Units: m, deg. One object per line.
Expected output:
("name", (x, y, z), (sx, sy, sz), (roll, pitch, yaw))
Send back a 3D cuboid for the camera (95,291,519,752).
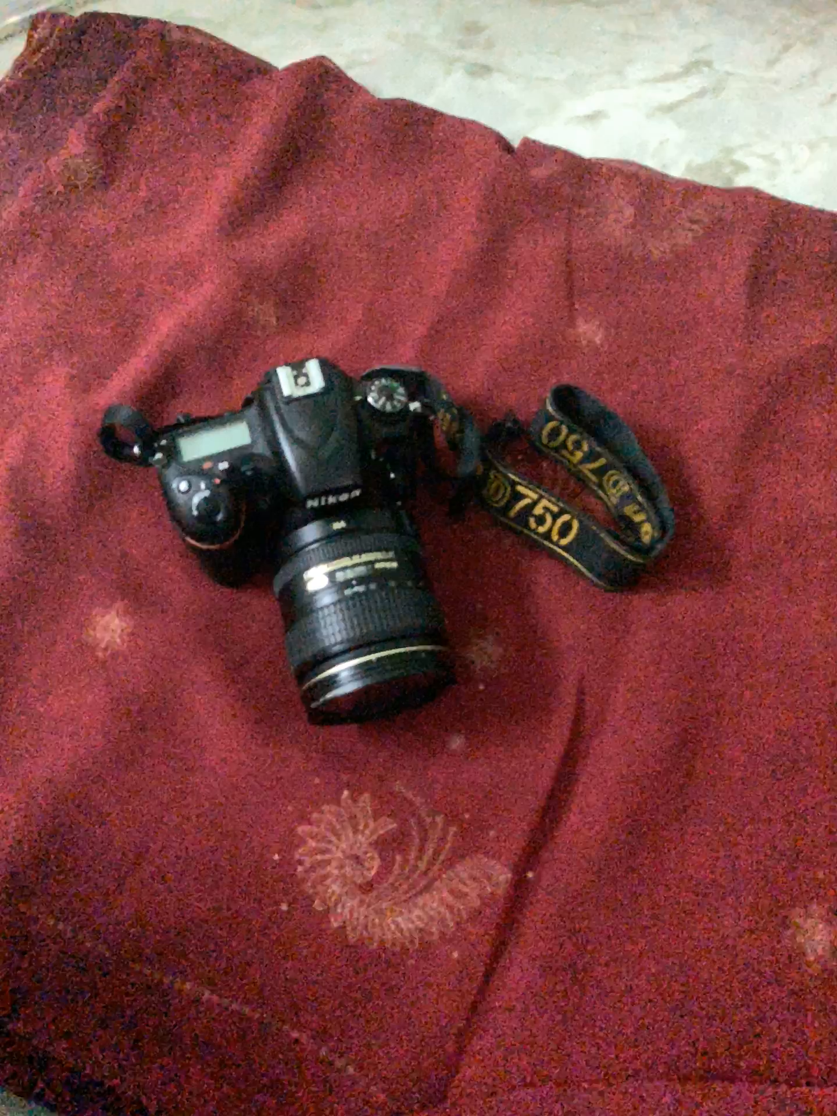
("camera", (-0.052, -0.014, 0.410), (0.150, 0.110, 0.160), (-15, 67, -4))
